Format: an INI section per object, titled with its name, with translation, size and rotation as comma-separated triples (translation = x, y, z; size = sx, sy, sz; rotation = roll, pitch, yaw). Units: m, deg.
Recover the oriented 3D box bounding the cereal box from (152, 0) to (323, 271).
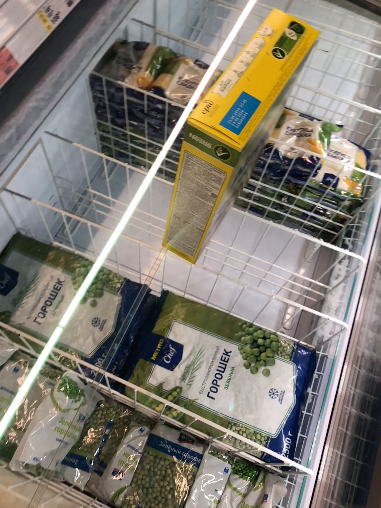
[cereal box]
translation = 0.042, -0.126, 0.529
size = 0.070, 0.279, 0.201
rotation = 31, 66, 6
